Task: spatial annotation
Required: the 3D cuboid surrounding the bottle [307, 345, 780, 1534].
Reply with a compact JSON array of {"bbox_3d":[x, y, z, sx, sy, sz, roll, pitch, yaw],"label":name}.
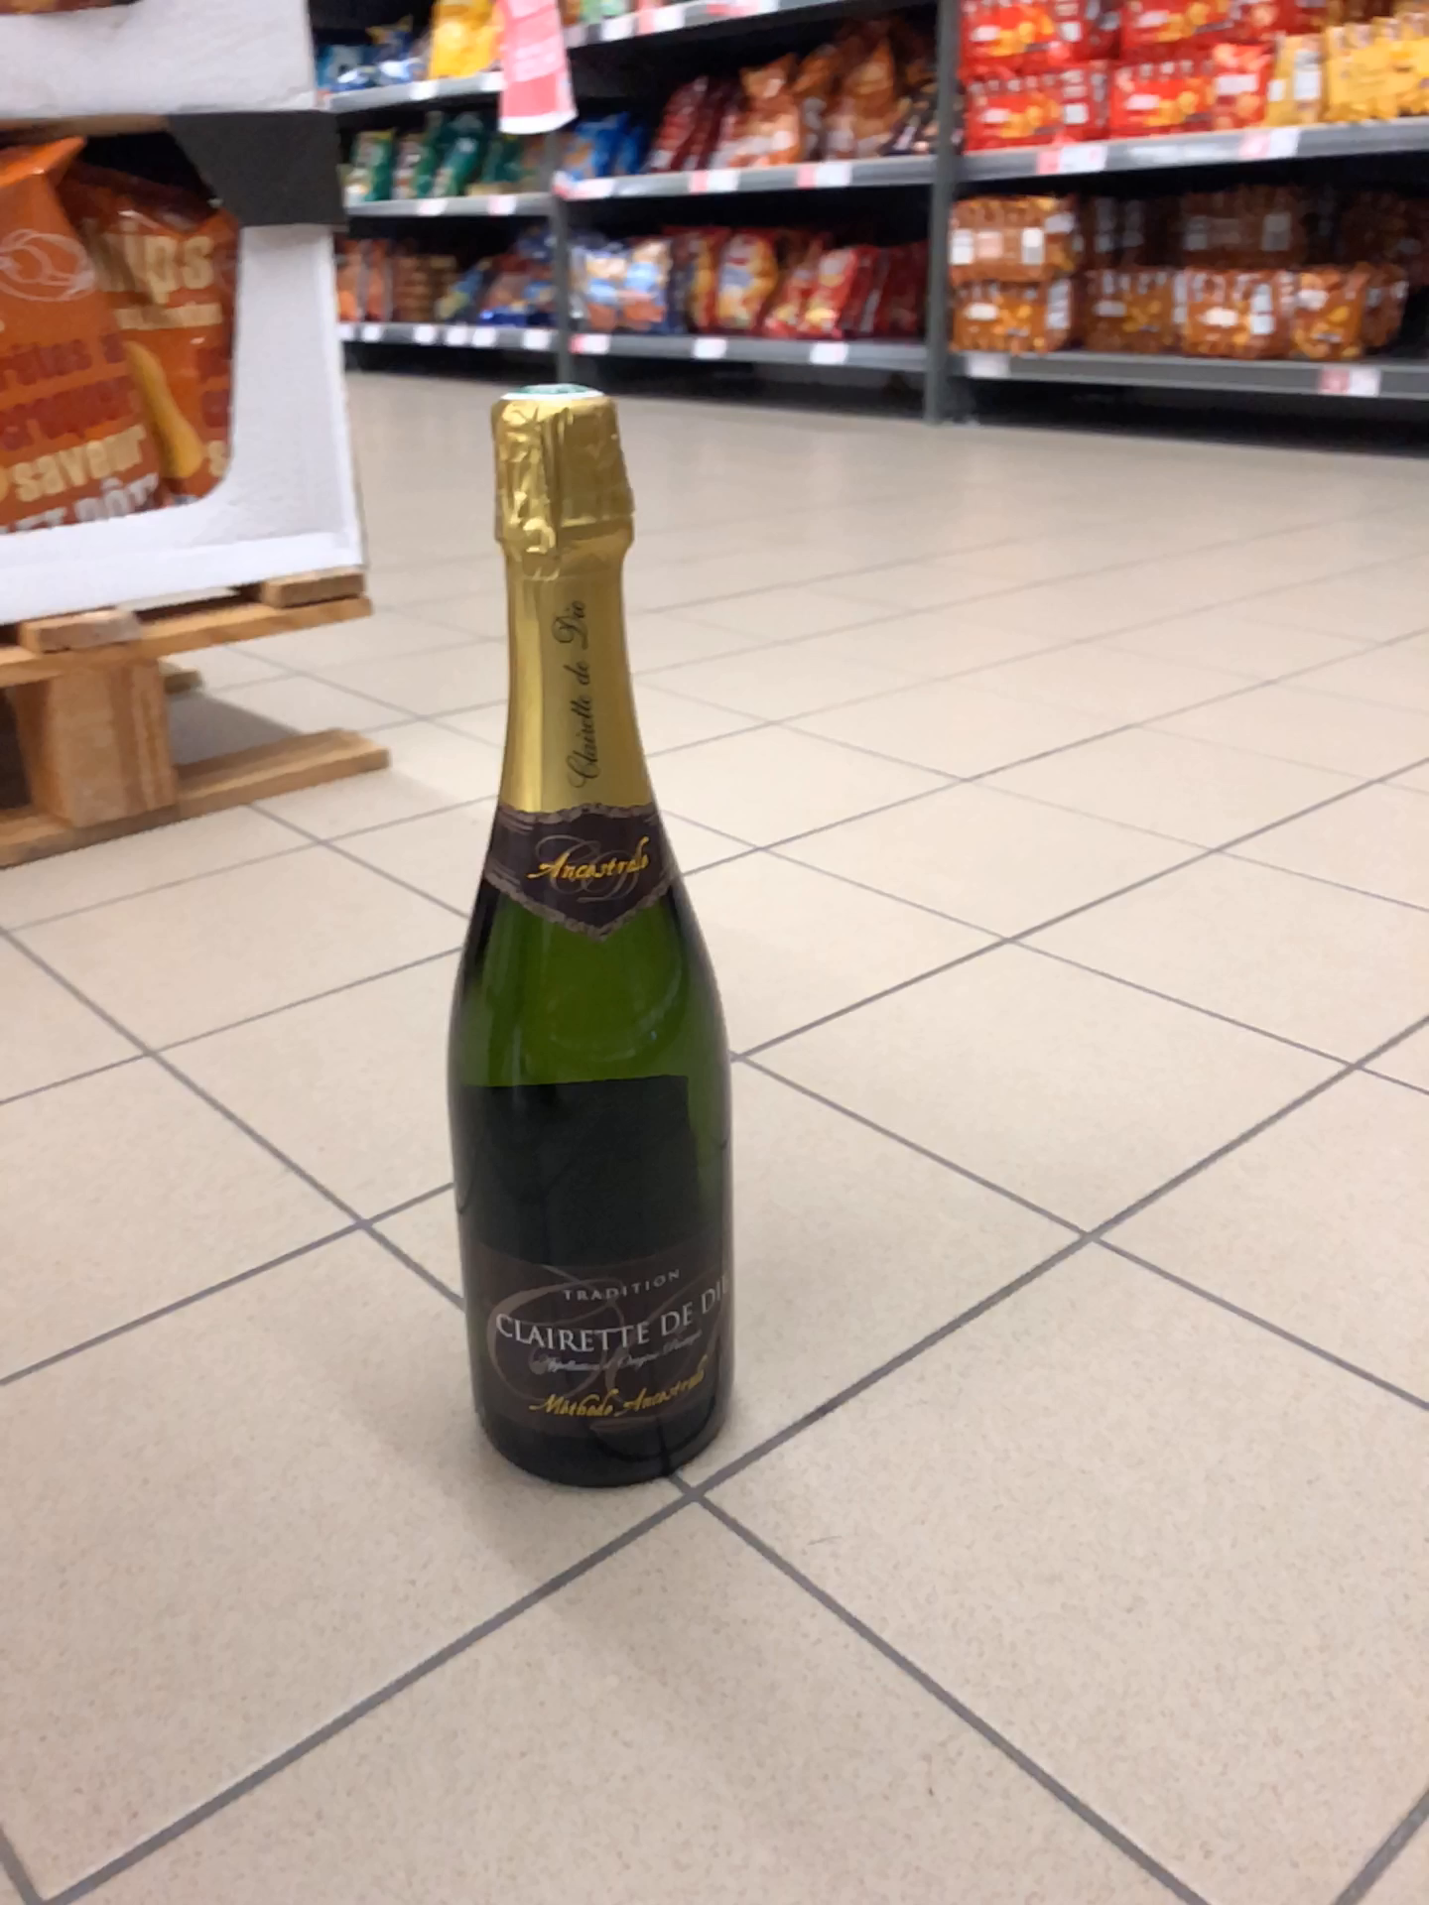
[{"bbox_3d":[-0.040,0.000,0.449,0.100,0.318,0.100,-1,23,1],"label":"bottle"}]
